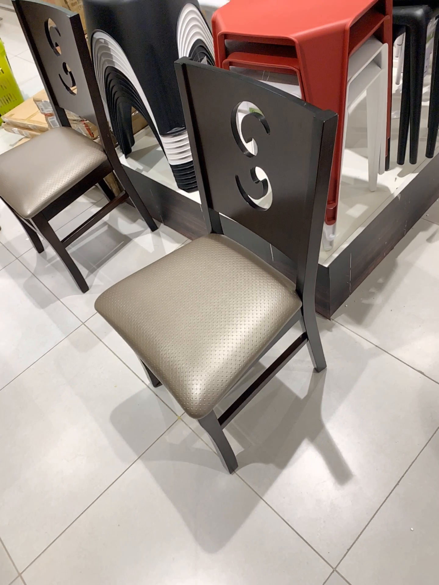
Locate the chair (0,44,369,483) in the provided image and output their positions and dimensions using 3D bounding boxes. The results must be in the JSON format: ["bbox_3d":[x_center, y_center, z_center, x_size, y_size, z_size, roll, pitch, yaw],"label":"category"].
[{"bbox_3d":[-0.029,-0.027,1.125,0.520,0.847,0.502,-39,53,-19],"label":"chair"}]
